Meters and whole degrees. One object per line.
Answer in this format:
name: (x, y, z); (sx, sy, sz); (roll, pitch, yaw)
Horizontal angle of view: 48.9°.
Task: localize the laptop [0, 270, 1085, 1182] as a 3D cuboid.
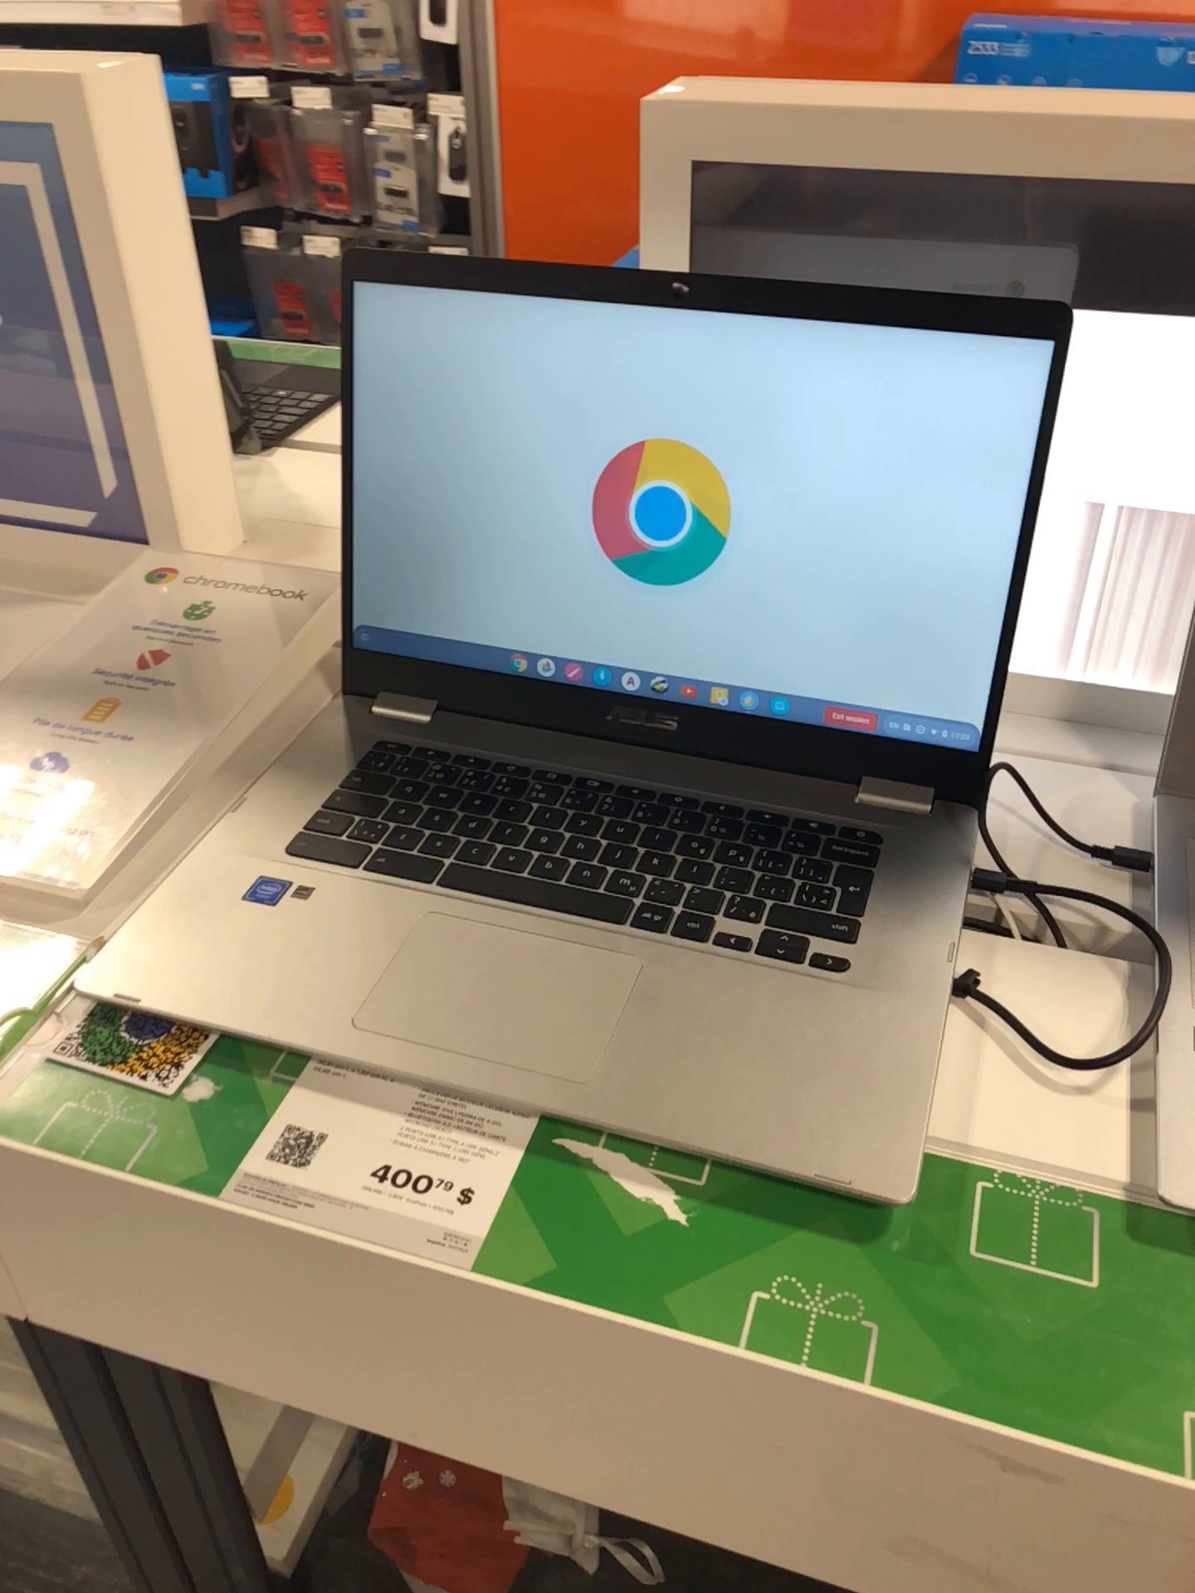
laptop: (-0.007, -0.060, 0.548); (0.337, 0.225, 0.287); (10, 37, 16)
